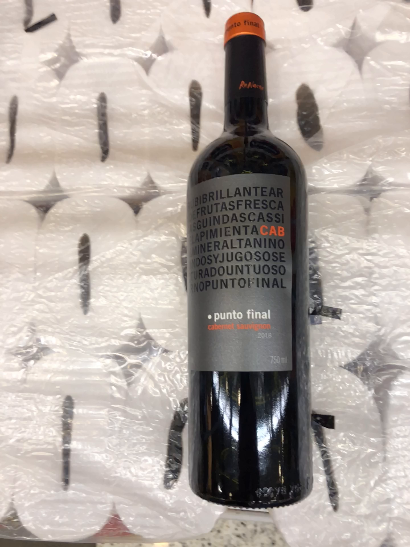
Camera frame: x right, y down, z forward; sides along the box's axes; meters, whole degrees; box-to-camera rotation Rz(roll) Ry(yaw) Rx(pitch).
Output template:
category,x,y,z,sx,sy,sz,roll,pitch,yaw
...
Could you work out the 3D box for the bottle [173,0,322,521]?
category,x,y,z,sx,sy,sz,roll,pitch,yaw
bottle,0.024,-0.031,0.275,0.070,0.060,0.310,-1,78,7
